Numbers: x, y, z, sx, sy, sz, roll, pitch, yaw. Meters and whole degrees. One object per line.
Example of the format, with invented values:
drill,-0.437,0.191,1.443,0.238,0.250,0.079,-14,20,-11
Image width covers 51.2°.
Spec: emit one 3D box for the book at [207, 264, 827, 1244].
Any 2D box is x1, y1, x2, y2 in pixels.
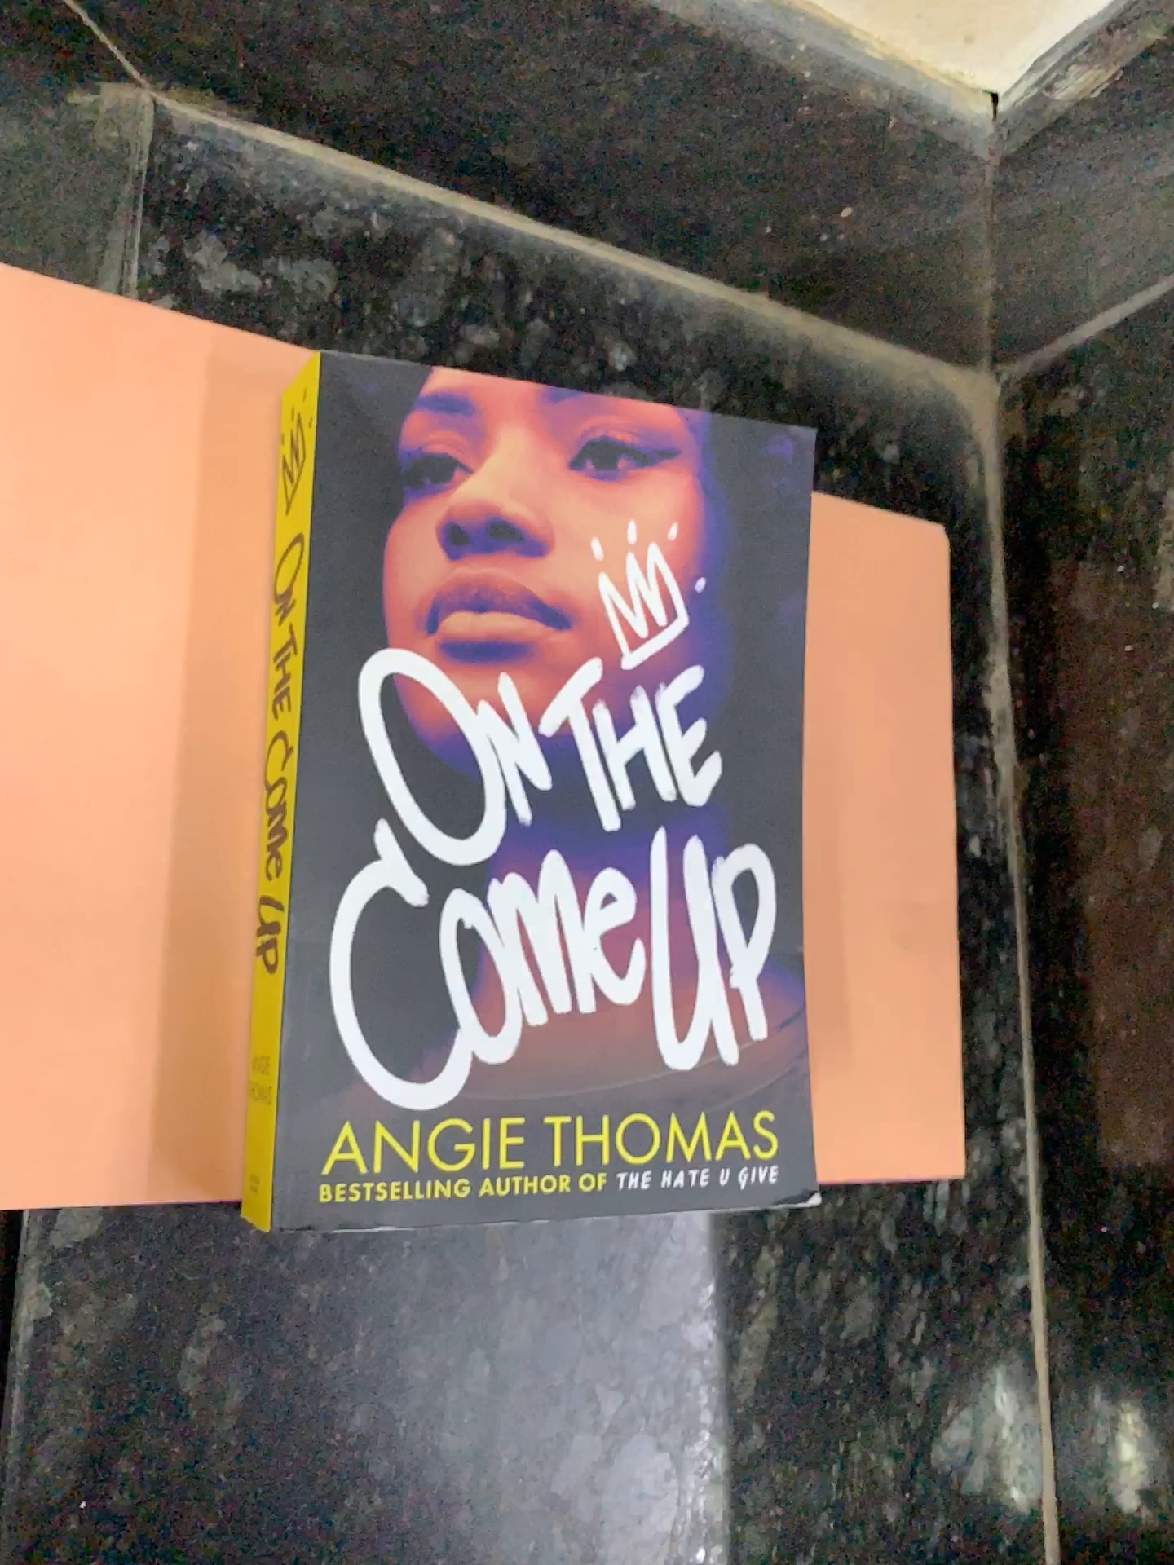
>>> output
book,-0.014,-0.005,0.288,0.130,0.040,0.200,4,78,-23
